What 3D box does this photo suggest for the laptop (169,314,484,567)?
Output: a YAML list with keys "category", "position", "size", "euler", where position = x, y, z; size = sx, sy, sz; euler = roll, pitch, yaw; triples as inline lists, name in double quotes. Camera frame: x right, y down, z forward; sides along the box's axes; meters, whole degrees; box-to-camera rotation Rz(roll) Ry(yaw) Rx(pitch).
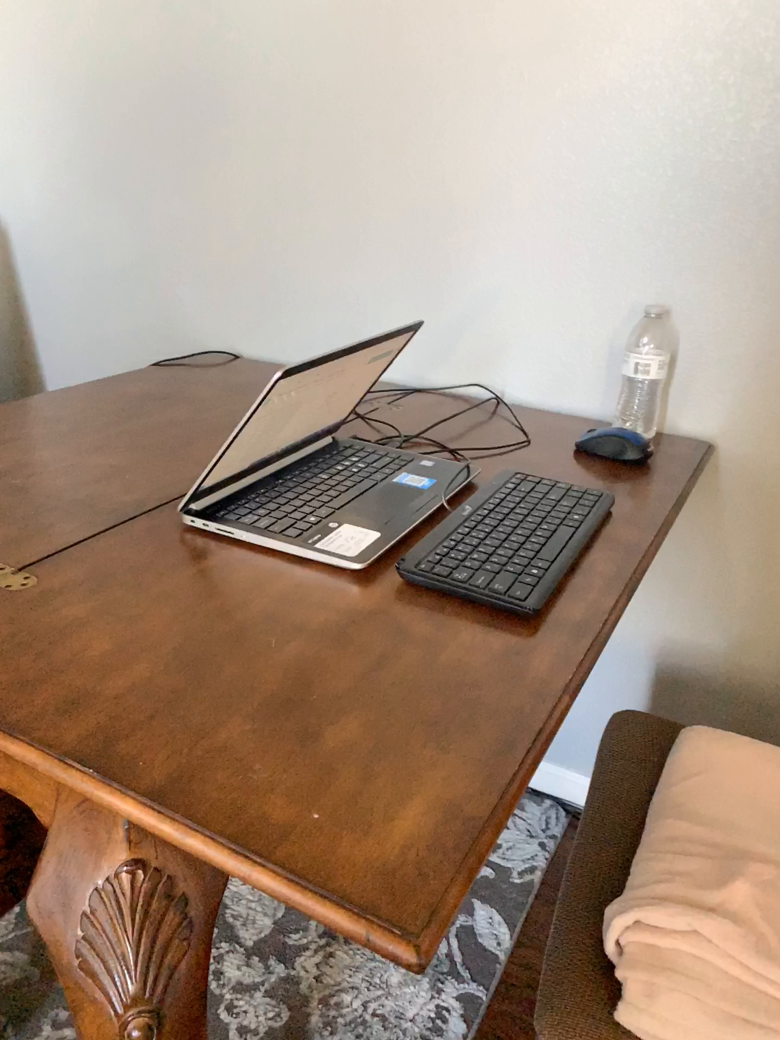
- category: "laptop"
  position: [-0.052, -0.107, 0.860]
  size: [0.199, 0.157, 0.304]
  euler: [15, 26, 23]
